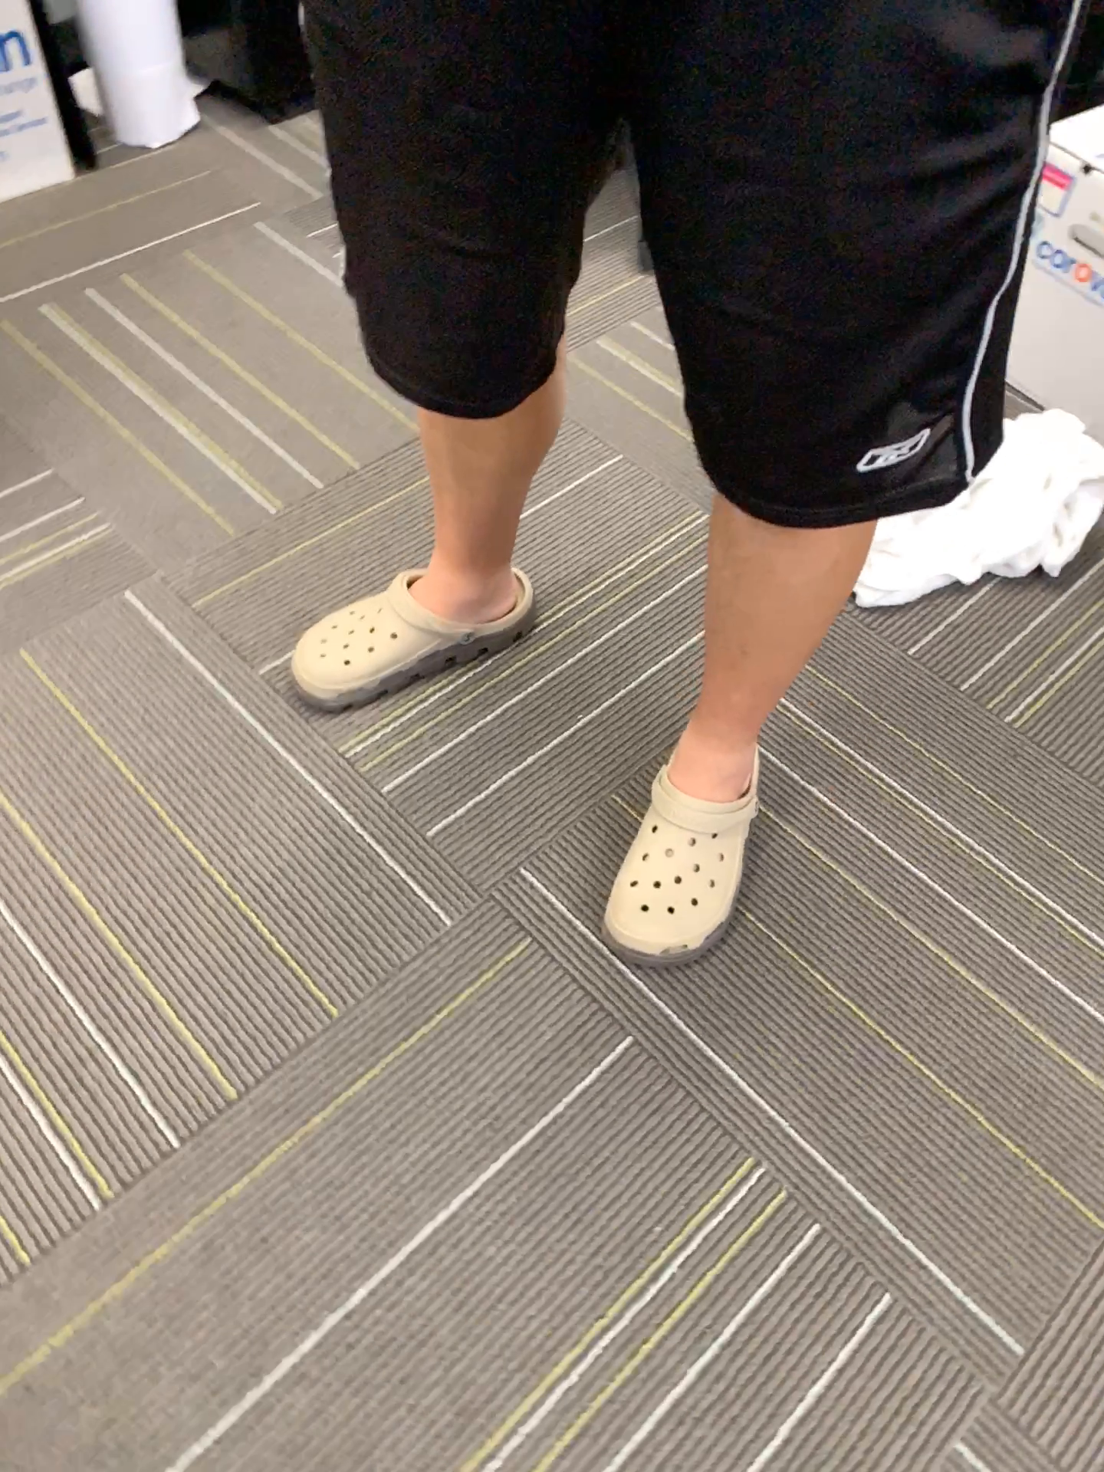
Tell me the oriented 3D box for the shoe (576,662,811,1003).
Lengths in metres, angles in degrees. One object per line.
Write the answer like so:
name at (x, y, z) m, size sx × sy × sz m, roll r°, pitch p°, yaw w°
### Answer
shoe at (0.151, 0.089, 1.162) m, size 0.140 × 0.090 × 0.331 m, roll 19°, pitch 53°, yaw 11°

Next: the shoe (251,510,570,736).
shoe at (-0.162, -0.139, 1.319) m, size 0.330 × 0.090 × 0.151 m, roll -22°, pitch 57°, yaw -19°
